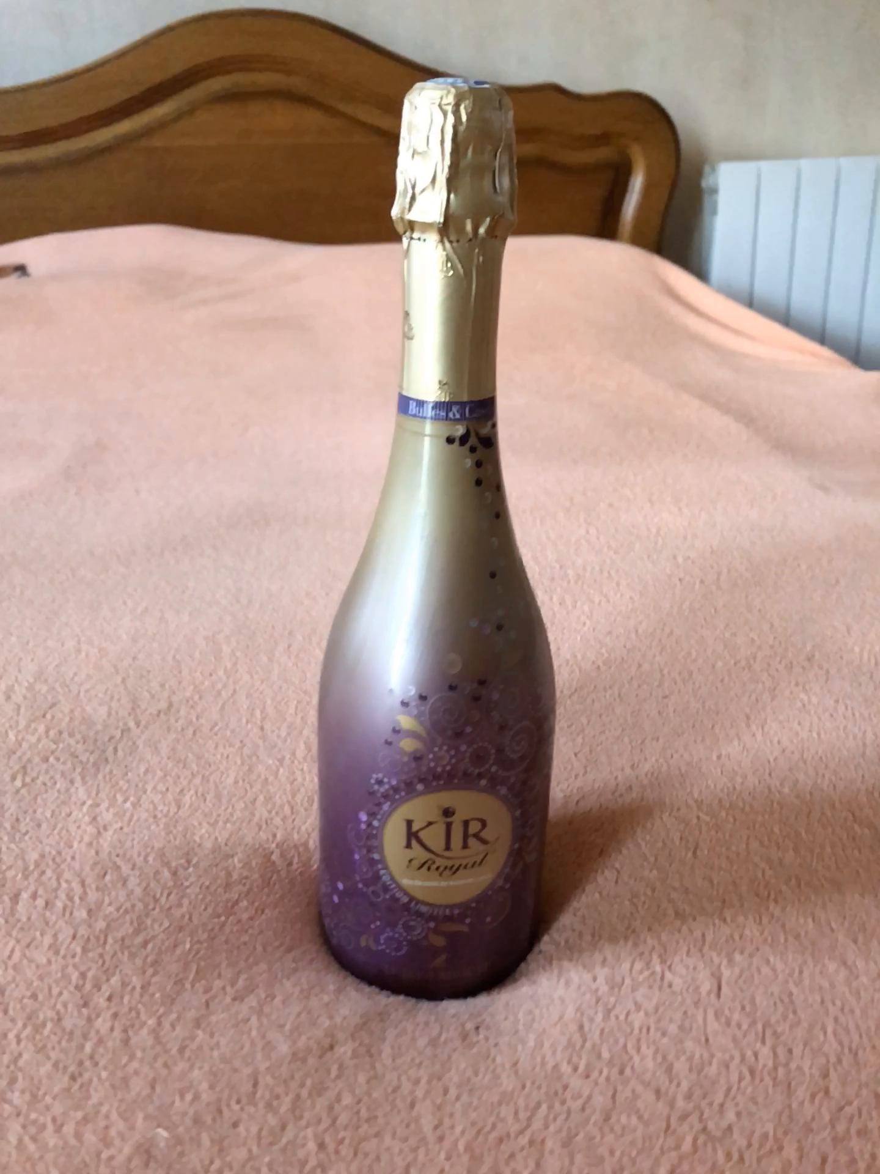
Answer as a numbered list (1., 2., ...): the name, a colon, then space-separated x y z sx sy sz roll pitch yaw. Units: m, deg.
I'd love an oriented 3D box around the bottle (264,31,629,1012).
1. bottle: -0.003 -0.009 0.338 0.090 0.308 0.090 0 22 0
